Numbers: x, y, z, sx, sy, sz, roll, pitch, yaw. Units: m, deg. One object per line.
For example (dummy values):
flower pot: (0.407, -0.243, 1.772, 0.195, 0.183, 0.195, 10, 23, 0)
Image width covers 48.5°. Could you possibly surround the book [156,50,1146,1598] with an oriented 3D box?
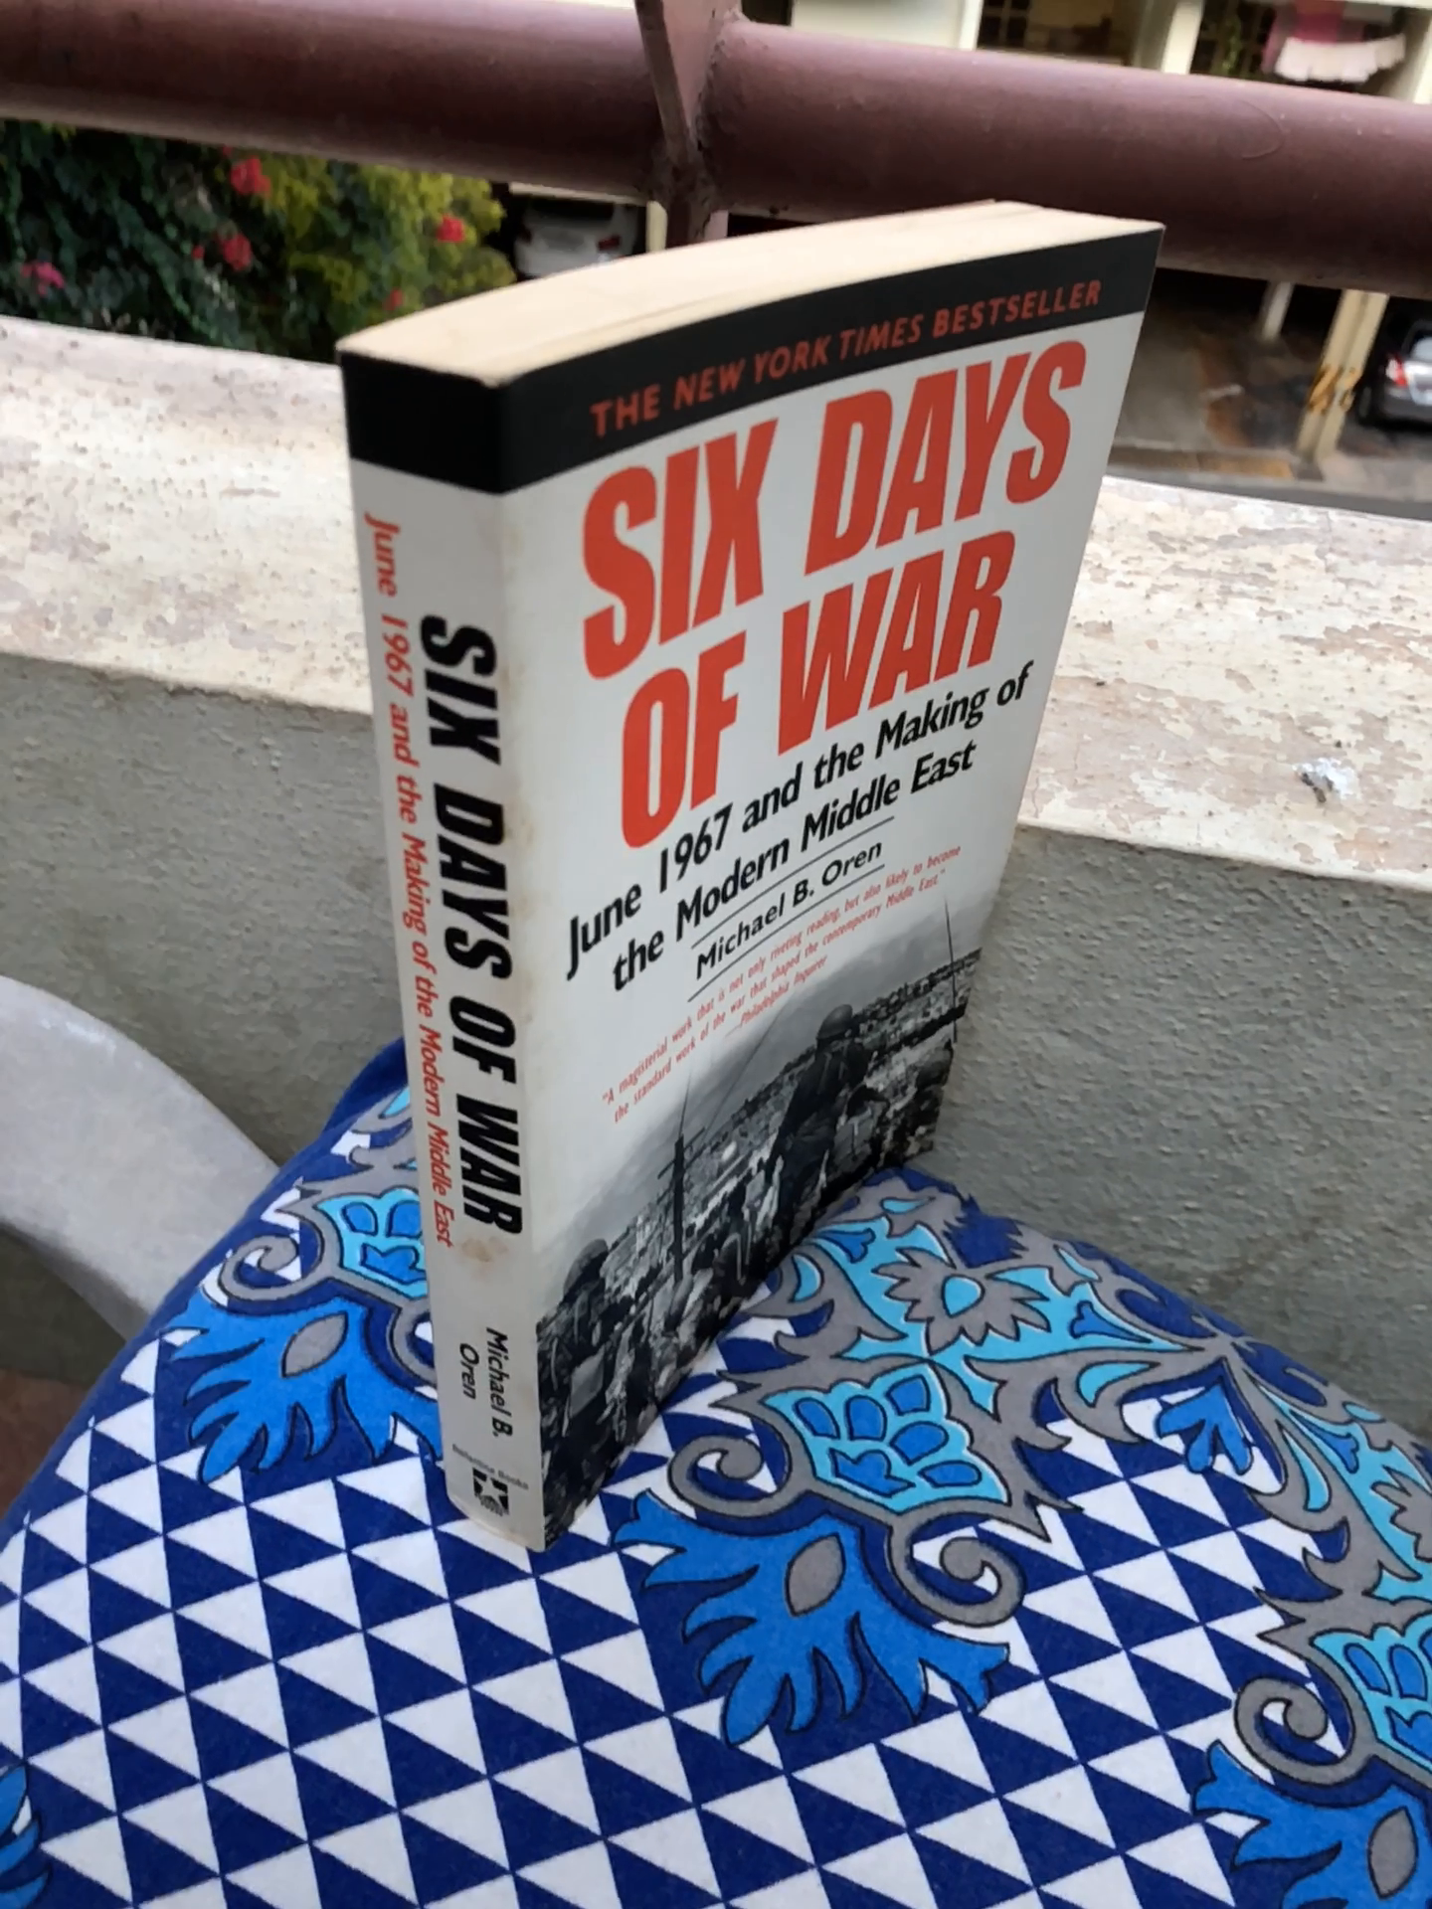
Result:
book: (0.004, -0.019, 0.315, 0.050, 0.249, 0.181, 24, 46, 25)
